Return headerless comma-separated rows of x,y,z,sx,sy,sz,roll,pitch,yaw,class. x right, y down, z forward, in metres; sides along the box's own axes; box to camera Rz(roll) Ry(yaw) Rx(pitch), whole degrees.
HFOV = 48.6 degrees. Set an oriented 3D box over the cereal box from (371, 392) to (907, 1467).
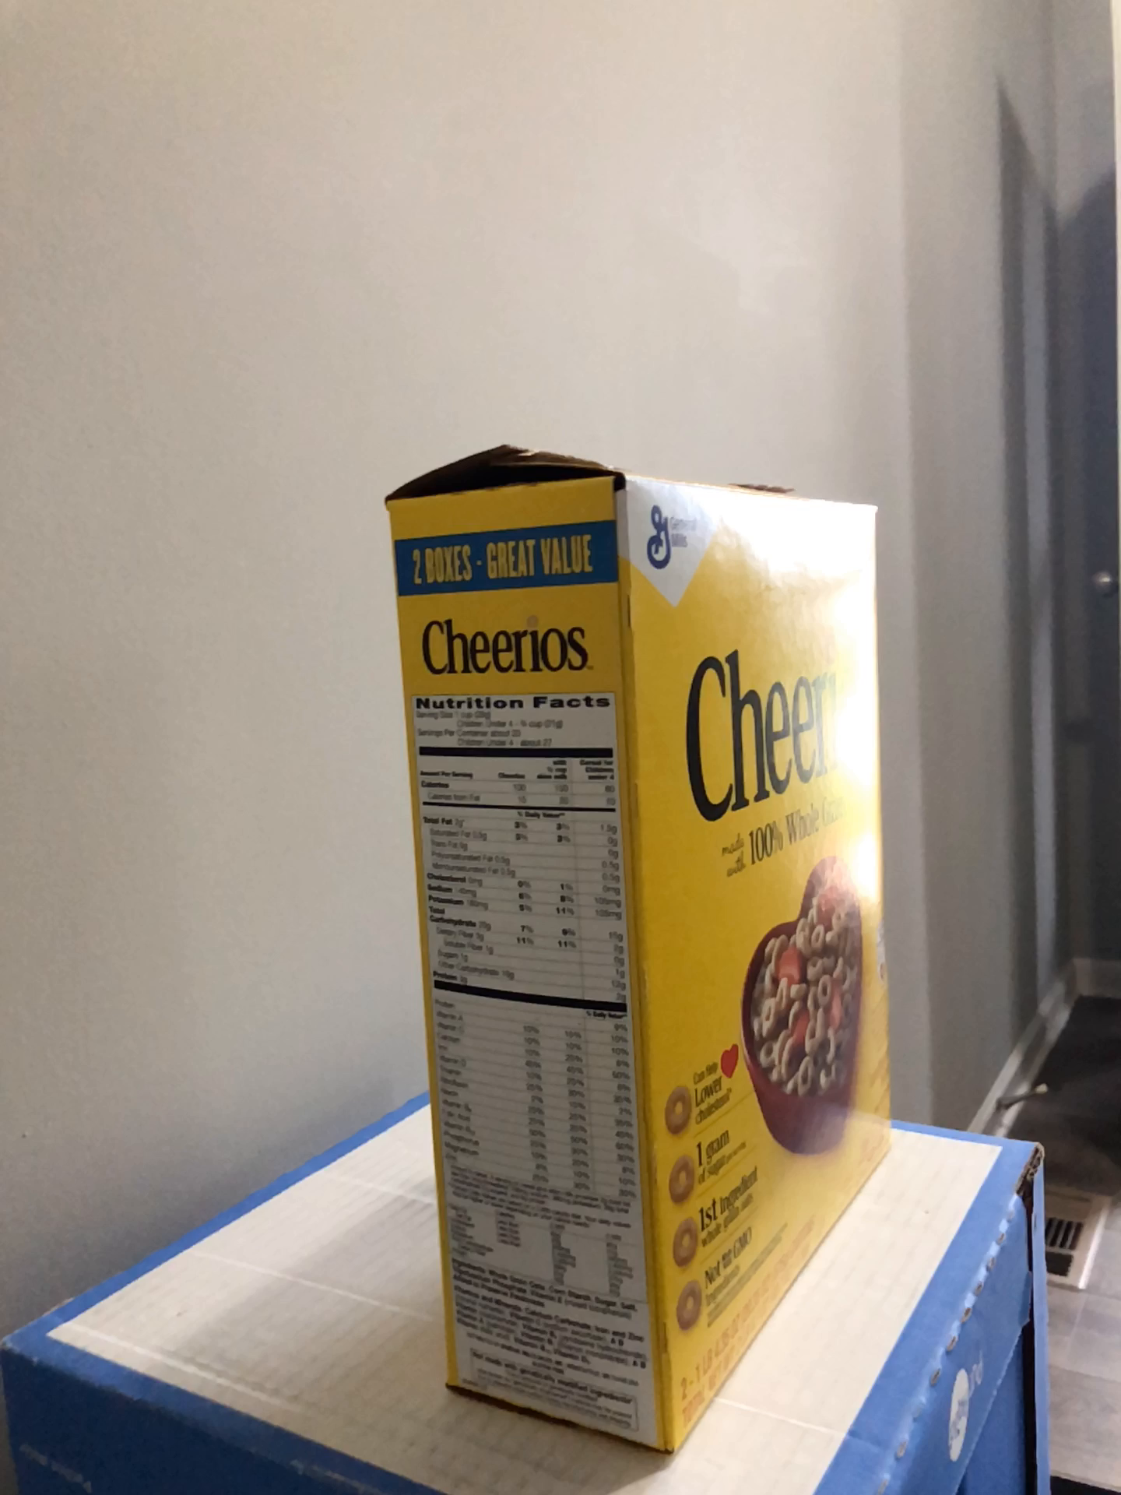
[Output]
0.051,0.043,0.476,0.090,0.310,0.240,0,7,31,cereal box
